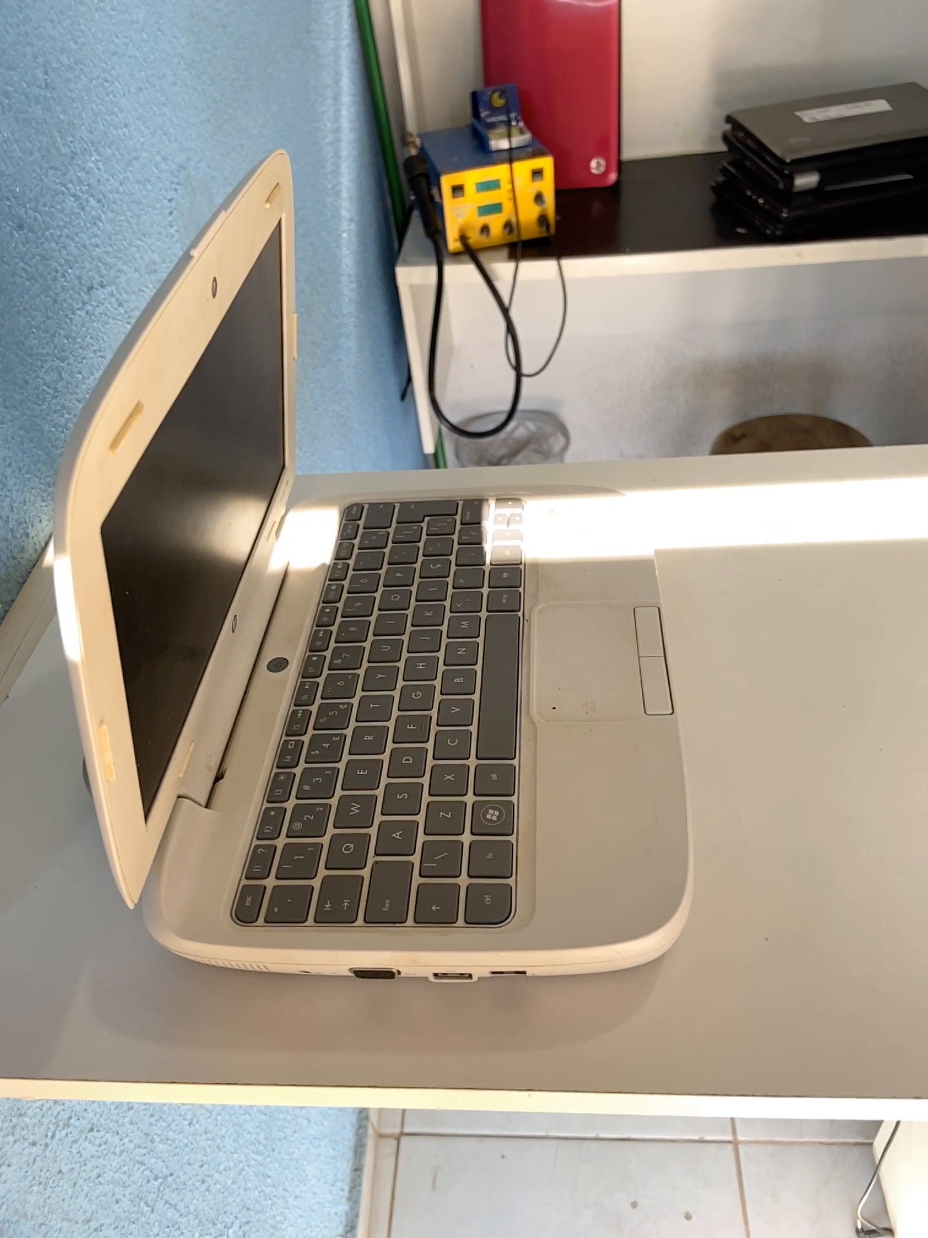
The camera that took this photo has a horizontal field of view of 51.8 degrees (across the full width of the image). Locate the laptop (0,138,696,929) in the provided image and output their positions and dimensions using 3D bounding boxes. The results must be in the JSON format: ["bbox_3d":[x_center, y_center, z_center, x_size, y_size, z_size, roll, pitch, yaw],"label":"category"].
[{"bbox_3d":[-0.019,-0.044,0.361,0.177,0.172,0.249,-2,42,6],"label":"laptop"}]
